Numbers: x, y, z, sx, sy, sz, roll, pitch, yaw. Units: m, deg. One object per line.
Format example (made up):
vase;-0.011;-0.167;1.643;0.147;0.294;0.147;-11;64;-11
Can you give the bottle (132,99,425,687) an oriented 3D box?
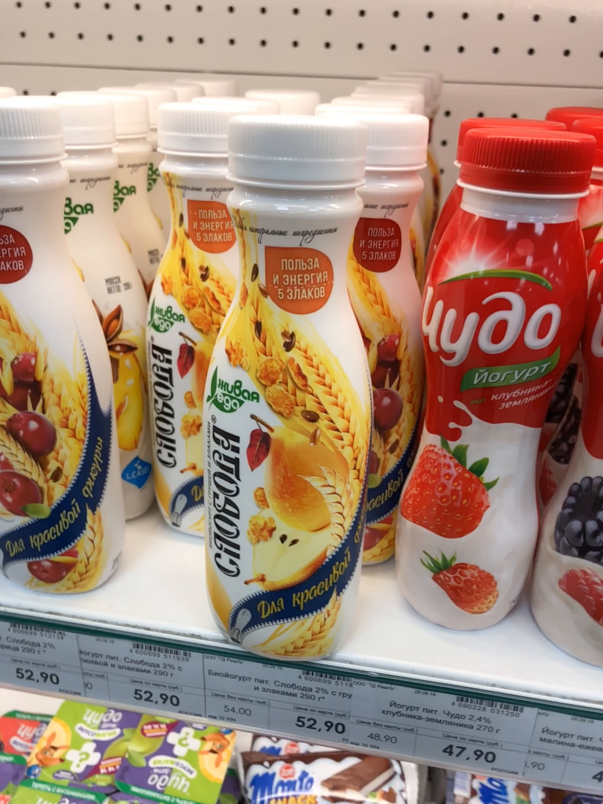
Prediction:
bottle;-0.005;0.001;0.234;0.070;0.189;0.060;8;28;11
